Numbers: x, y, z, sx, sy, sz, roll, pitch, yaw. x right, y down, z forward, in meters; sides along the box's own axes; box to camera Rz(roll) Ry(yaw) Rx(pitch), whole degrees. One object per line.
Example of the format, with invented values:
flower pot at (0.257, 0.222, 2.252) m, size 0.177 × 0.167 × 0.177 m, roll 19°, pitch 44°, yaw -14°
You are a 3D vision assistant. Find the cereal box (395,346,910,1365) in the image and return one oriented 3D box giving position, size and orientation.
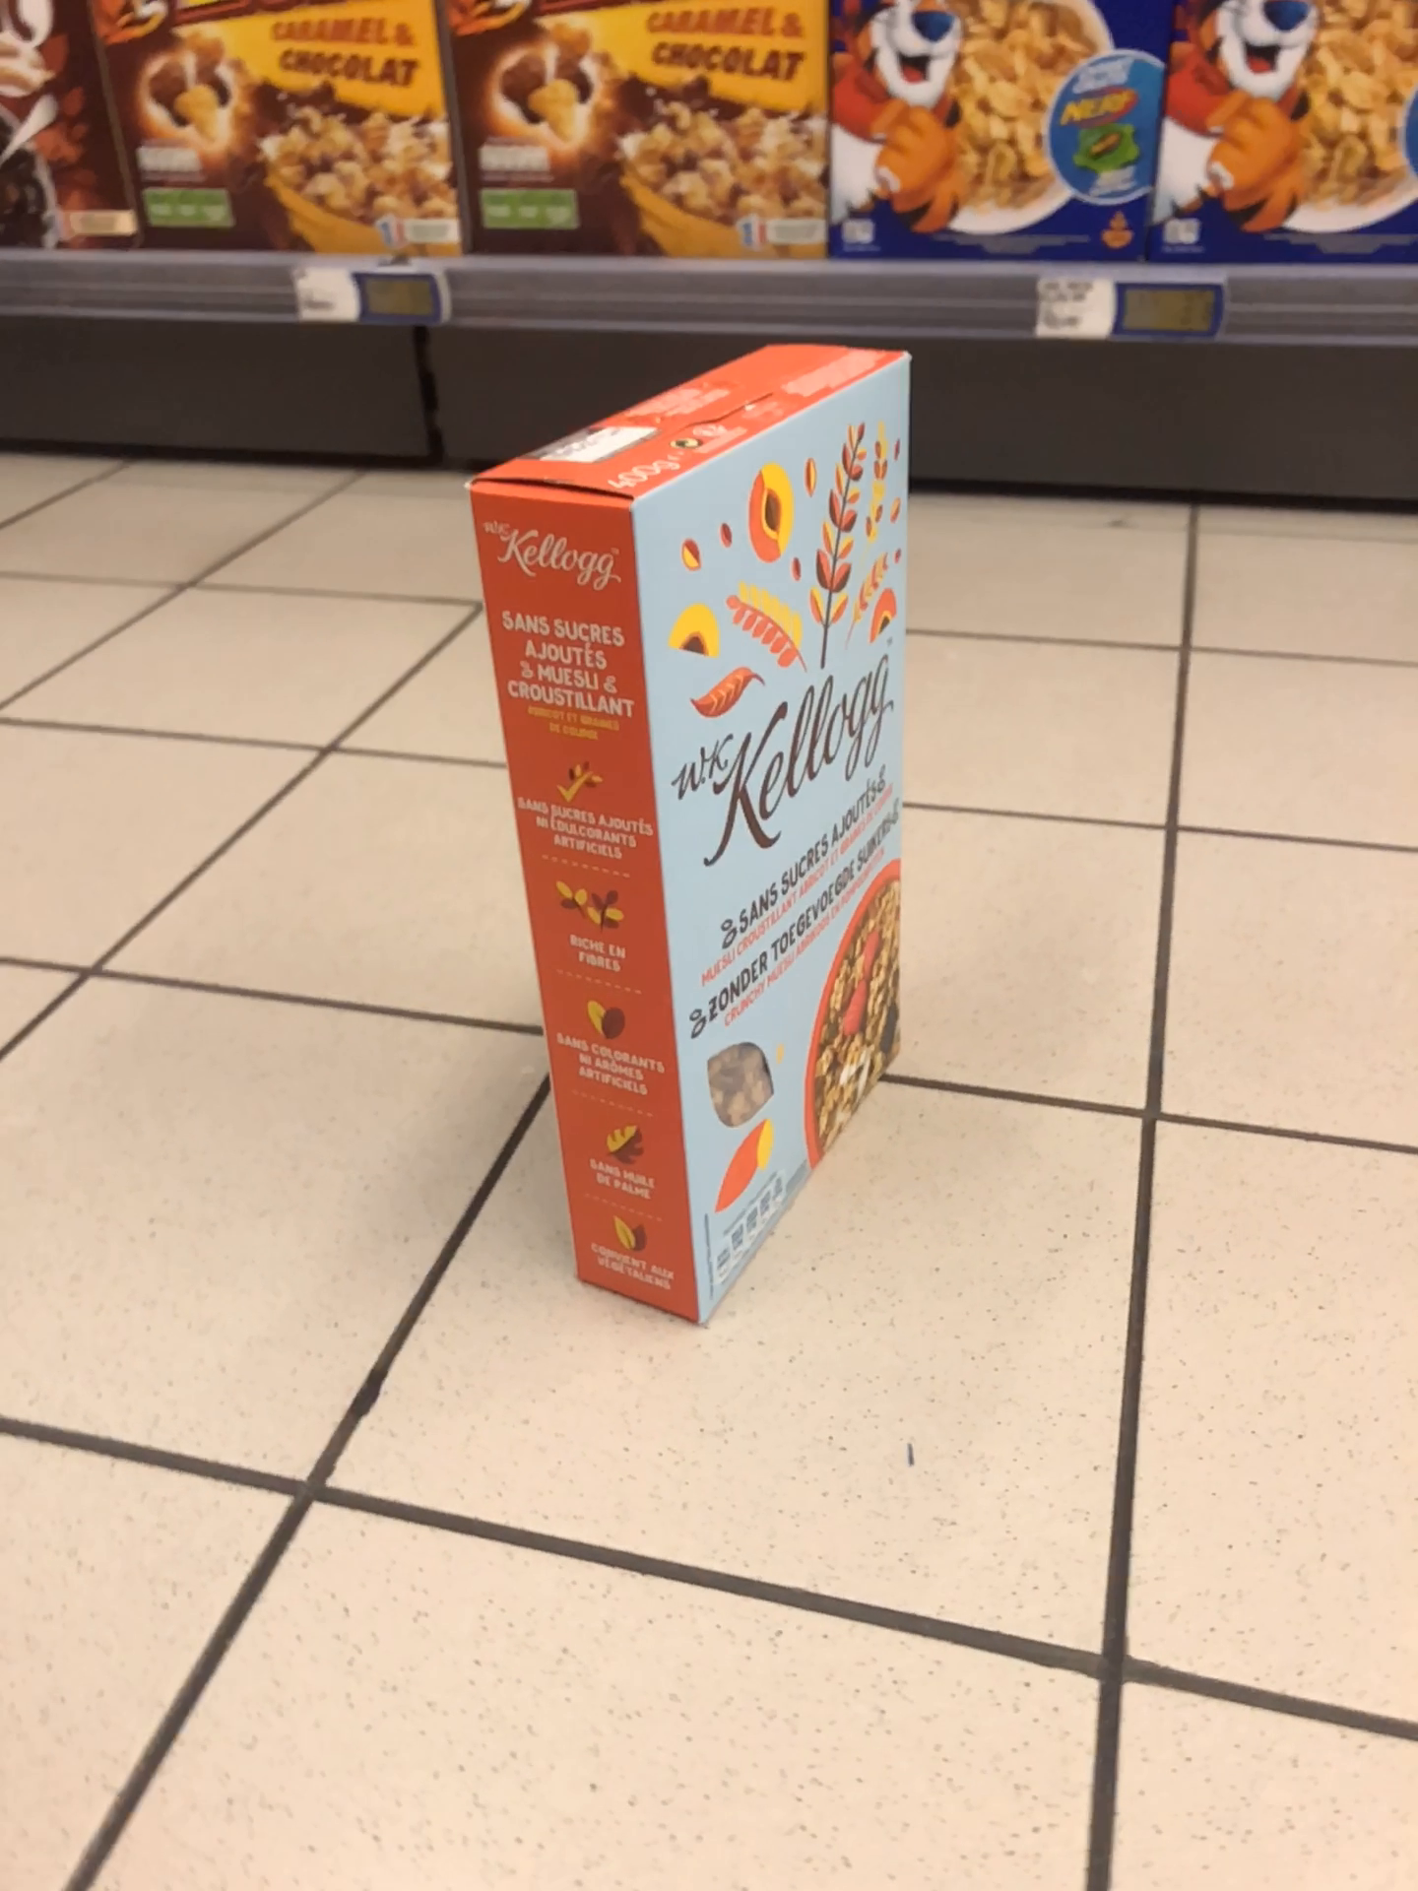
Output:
cereal box at (0.001, -0.027, 0.426) m, size 0.050 × 0.229 × 0.151 m, roll 13°, pitch 35°, yaw 27°
